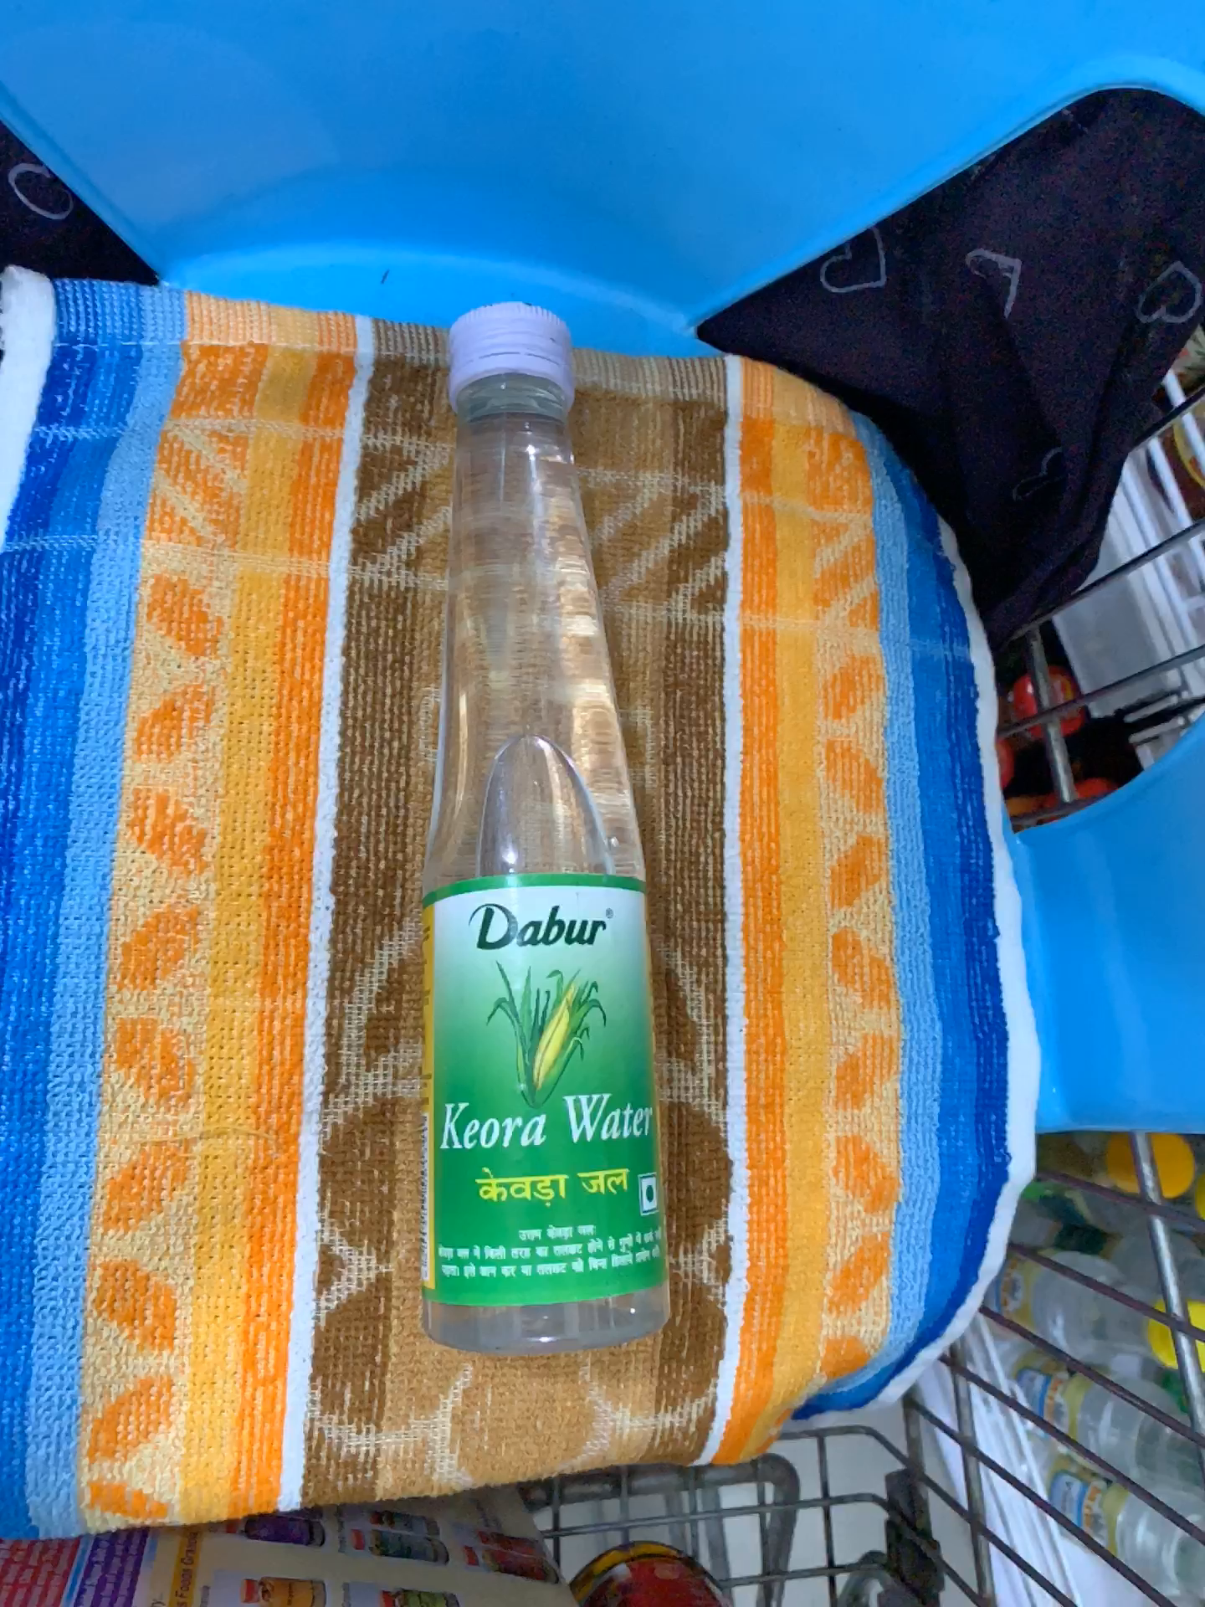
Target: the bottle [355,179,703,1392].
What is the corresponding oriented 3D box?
[{"bbox_3d":[-0.018,-0.006,0.233,0.050,0.050,0.200,-1,82,-12],"label":"bottle"}]
